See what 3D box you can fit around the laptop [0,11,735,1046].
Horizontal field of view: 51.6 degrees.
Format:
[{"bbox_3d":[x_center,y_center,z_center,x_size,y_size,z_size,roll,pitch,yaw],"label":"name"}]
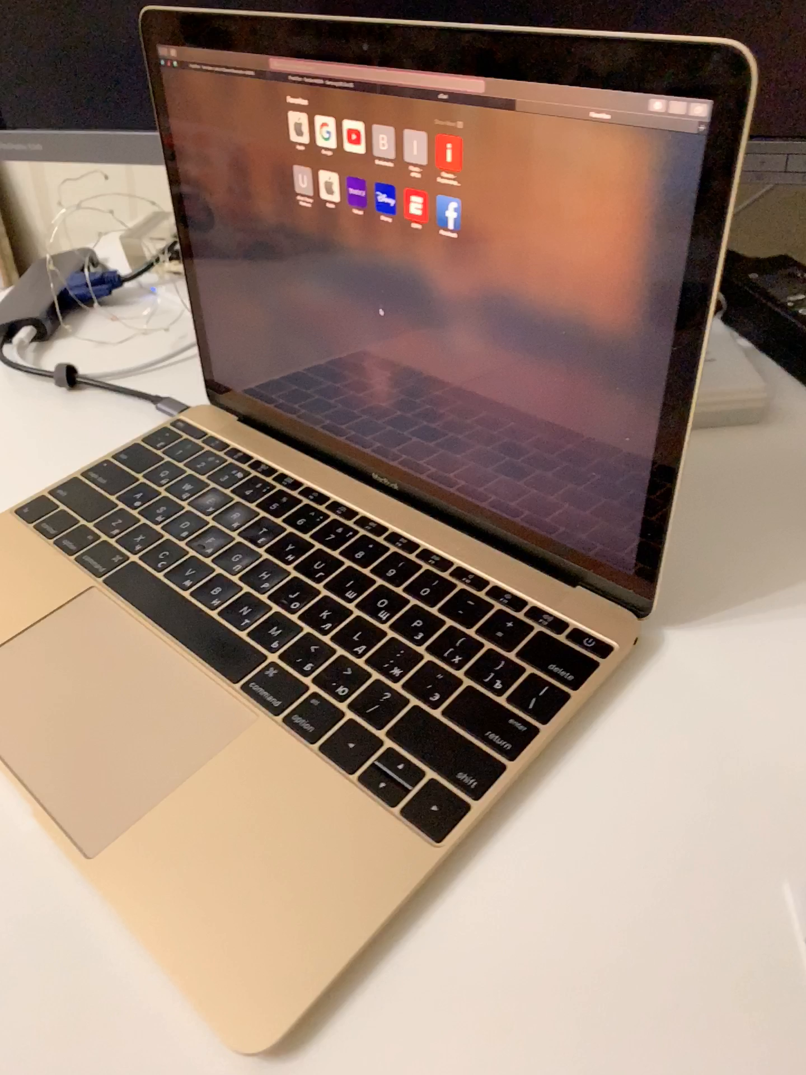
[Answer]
[{"bbox_3d":[-0.070,-0.047,0.264,0.248,0.168,0.197,27,50,34],"label":"laptop"}]
